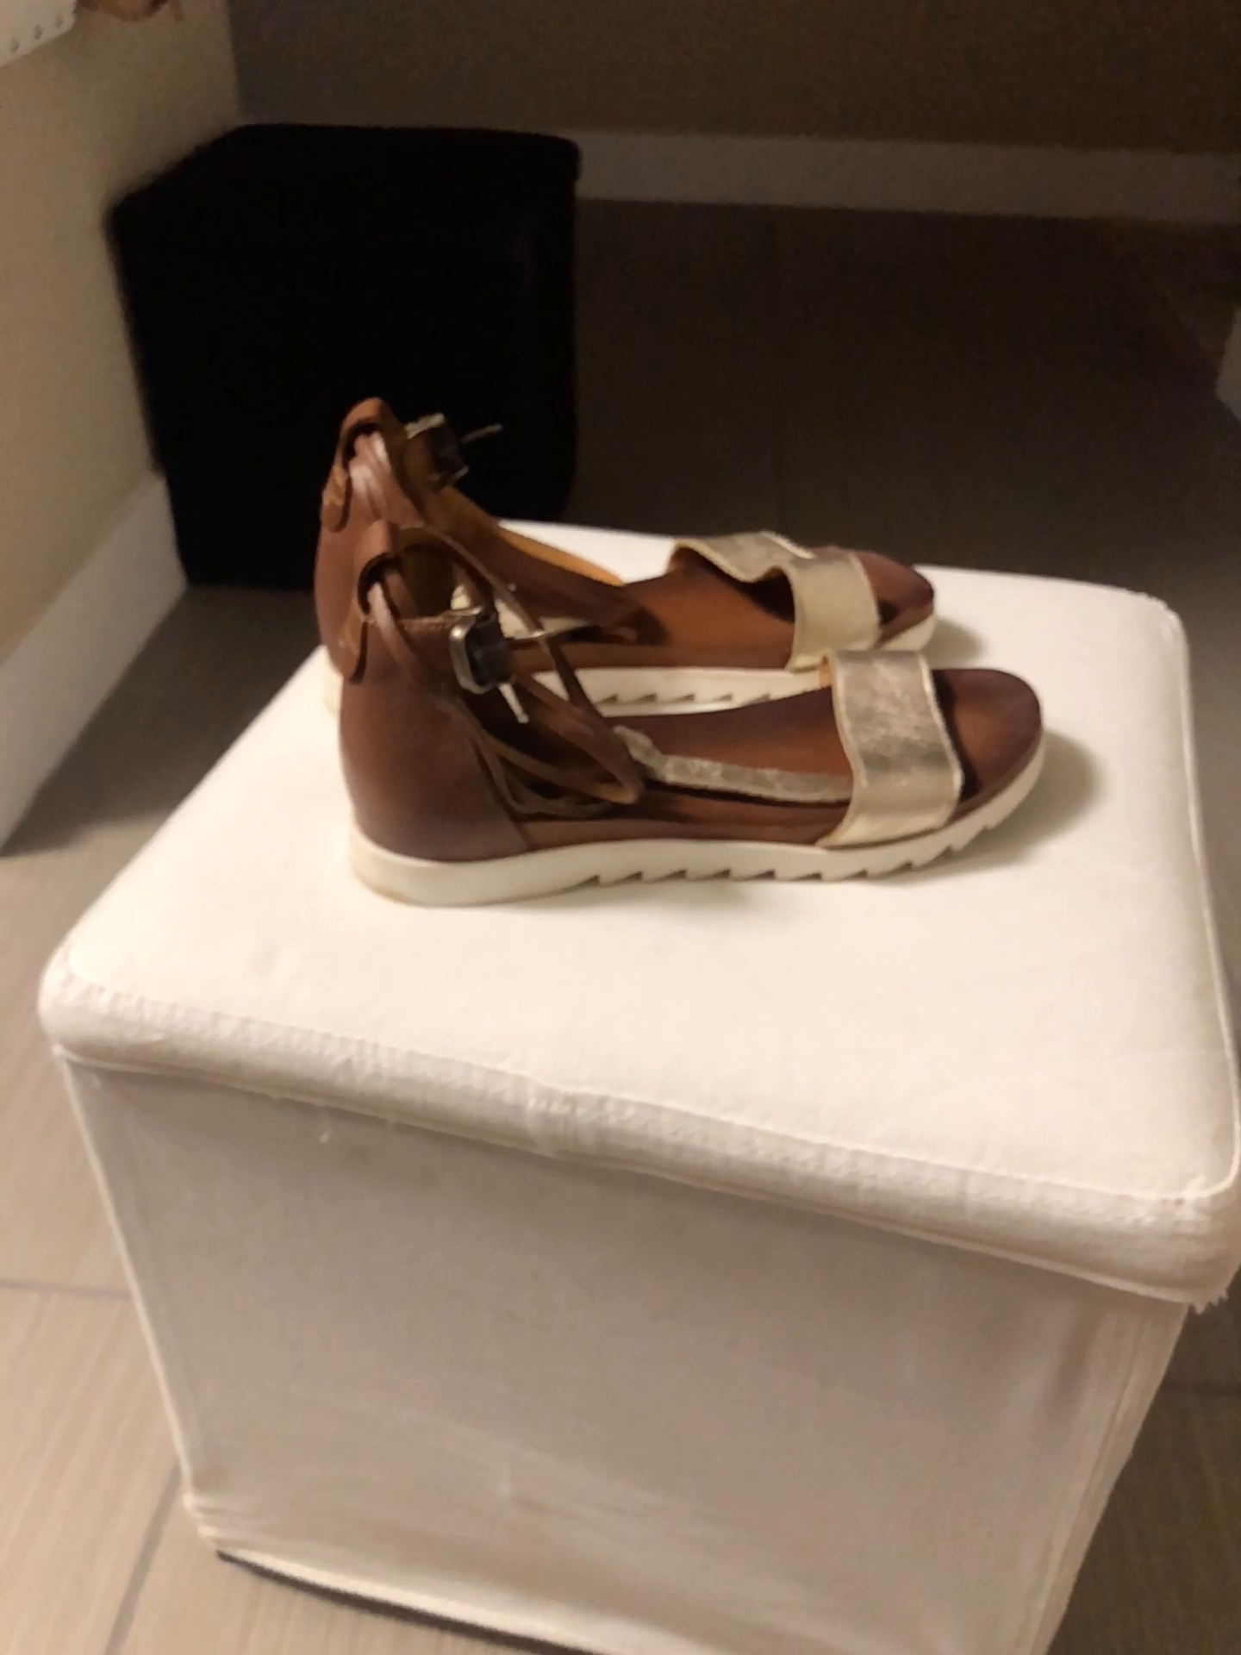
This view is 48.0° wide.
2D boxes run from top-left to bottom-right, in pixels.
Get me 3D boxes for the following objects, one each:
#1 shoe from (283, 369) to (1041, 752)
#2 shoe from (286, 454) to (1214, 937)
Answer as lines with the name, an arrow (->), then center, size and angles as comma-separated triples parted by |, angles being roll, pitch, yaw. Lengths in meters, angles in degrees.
shoe -> 0.008, -0.108, 0.537 | 0.260, 0.090, 0.111 | -6, 37, -10
shoe -> 0.031, -0.049, 0.448 | 0.260, 0.090, 0.111 | -6, 37, -10
